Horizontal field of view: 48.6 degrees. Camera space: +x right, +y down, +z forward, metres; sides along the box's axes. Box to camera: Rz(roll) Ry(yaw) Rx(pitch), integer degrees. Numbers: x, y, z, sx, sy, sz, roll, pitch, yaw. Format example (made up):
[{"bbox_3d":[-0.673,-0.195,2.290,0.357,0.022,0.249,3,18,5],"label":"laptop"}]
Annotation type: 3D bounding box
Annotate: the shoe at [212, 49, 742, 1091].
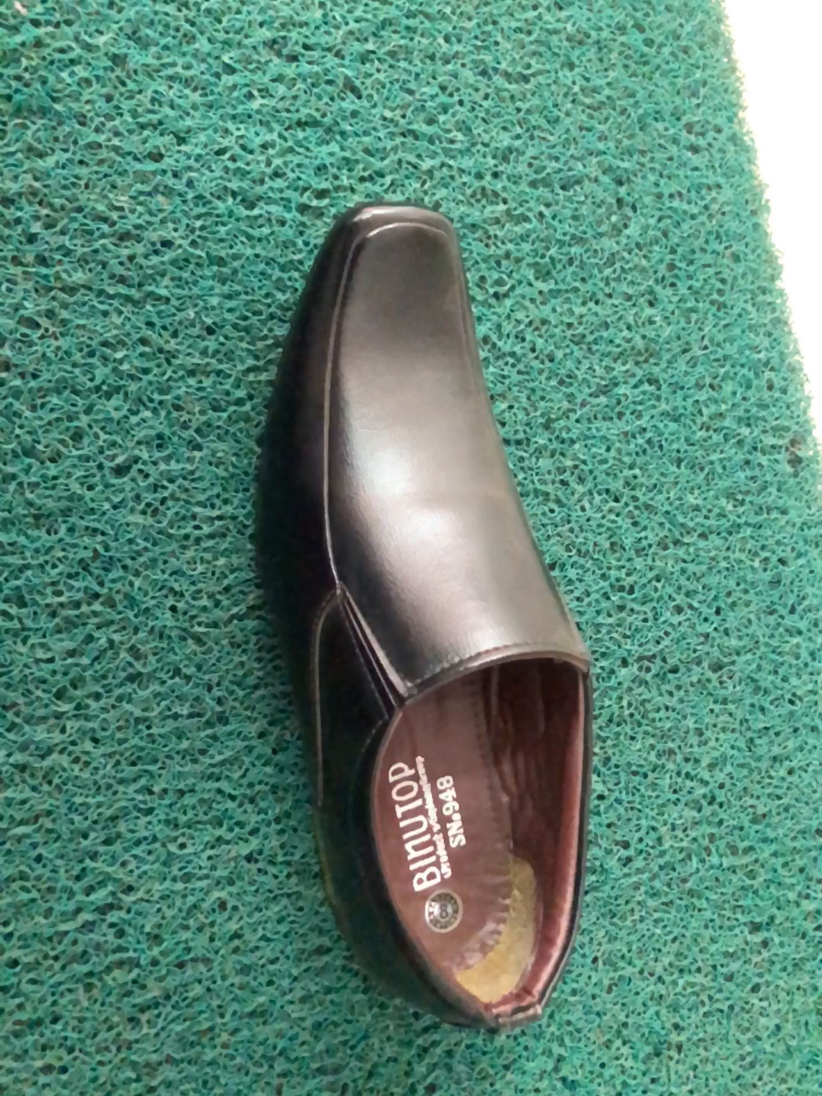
[{"bbox_3d":[0.012,0.003,0.316,0.111,0.129,0.270,-6,90,-23],"label":"shoe"}]
